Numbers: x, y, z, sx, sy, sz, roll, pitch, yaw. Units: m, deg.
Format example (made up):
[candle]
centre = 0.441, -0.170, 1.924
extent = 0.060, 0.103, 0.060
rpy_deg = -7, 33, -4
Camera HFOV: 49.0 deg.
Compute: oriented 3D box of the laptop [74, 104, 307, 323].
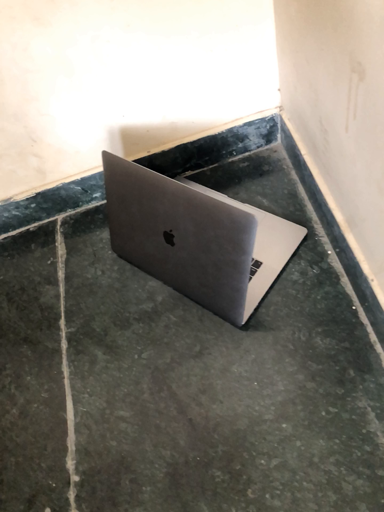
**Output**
[laptop]
centre = 0.003, -0.088, 0.766
extent = 0.330, 0.198, 0.221
rpy_deg = 29, 70, 32
